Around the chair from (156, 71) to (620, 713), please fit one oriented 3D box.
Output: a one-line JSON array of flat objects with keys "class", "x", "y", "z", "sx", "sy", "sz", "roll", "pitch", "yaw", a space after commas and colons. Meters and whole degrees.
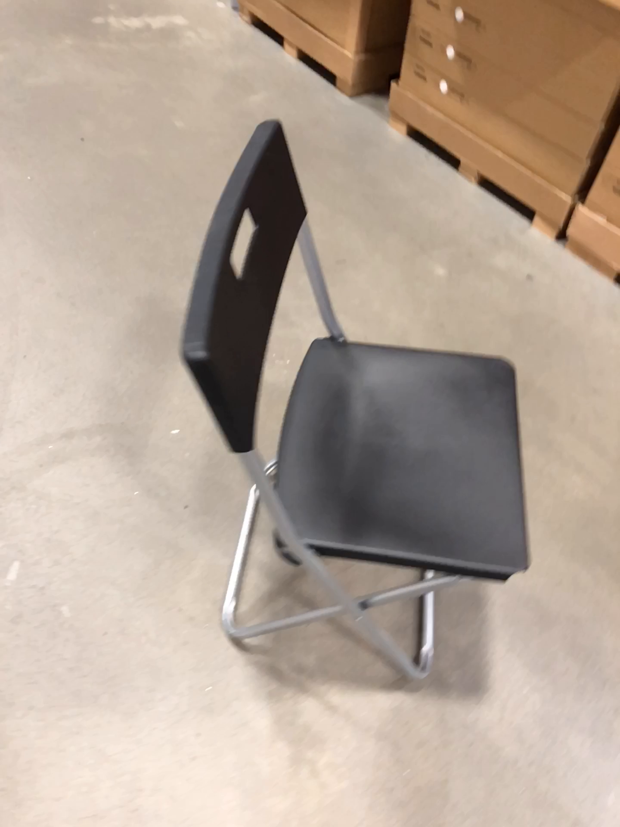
[{"class": "chair", "x": 0.108, "y": 0.037, "z": 0.965, "sx": 0.460, "sy": 0.758, "sz": 0.461, "roll": 9, "pitch": 51, "yaw": 1}]
